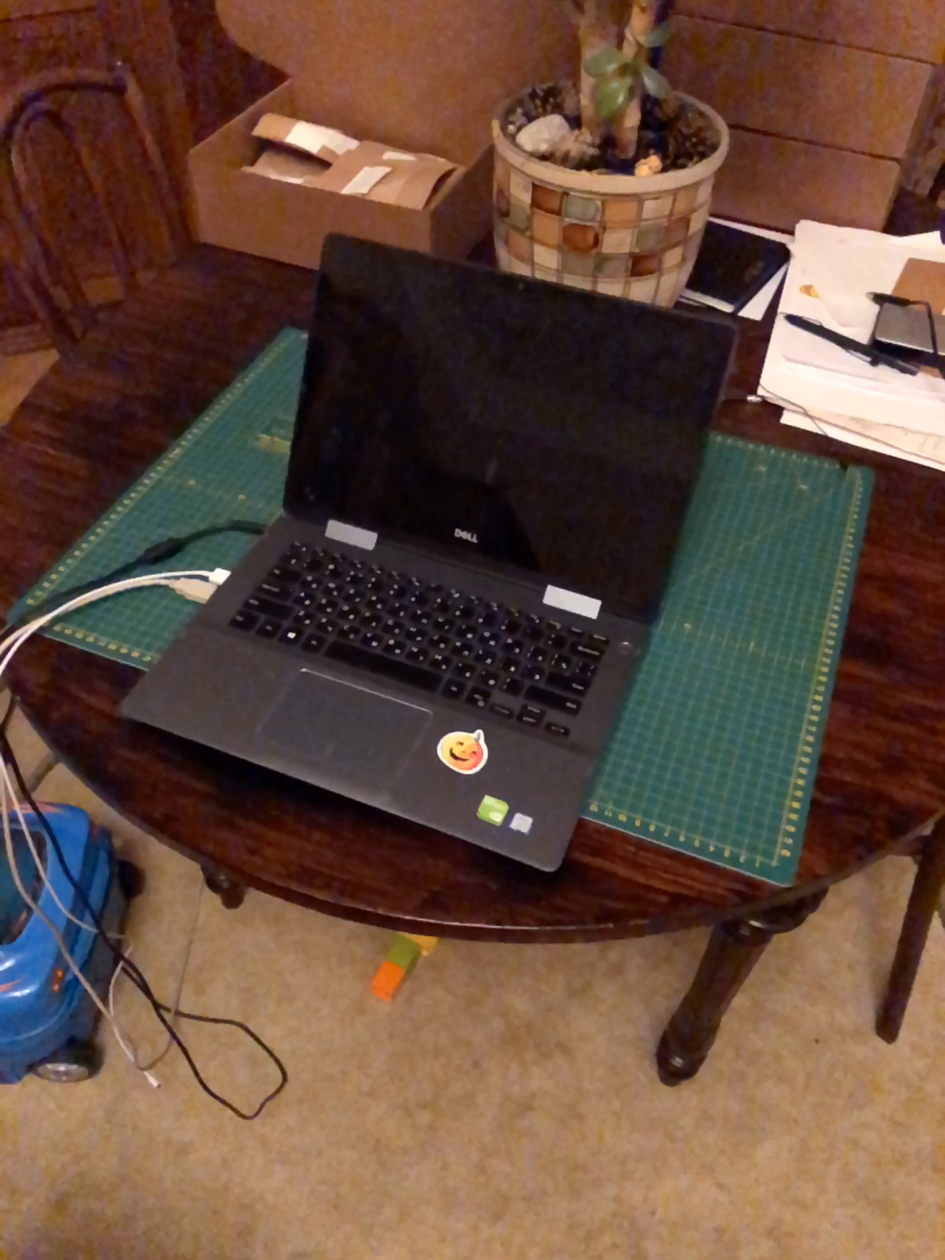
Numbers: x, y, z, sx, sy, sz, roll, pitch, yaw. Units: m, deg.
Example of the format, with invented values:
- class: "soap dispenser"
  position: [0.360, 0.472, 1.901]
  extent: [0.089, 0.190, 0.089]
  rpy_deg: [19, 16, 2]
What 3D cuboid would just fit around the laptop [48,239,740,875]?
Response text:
- class: "laptop"
  position: [-0.029, -0.074, 0.724]
  extent: [0.320, 0.192, 0.339]
  rpy_deg: [18, 49, 14]
